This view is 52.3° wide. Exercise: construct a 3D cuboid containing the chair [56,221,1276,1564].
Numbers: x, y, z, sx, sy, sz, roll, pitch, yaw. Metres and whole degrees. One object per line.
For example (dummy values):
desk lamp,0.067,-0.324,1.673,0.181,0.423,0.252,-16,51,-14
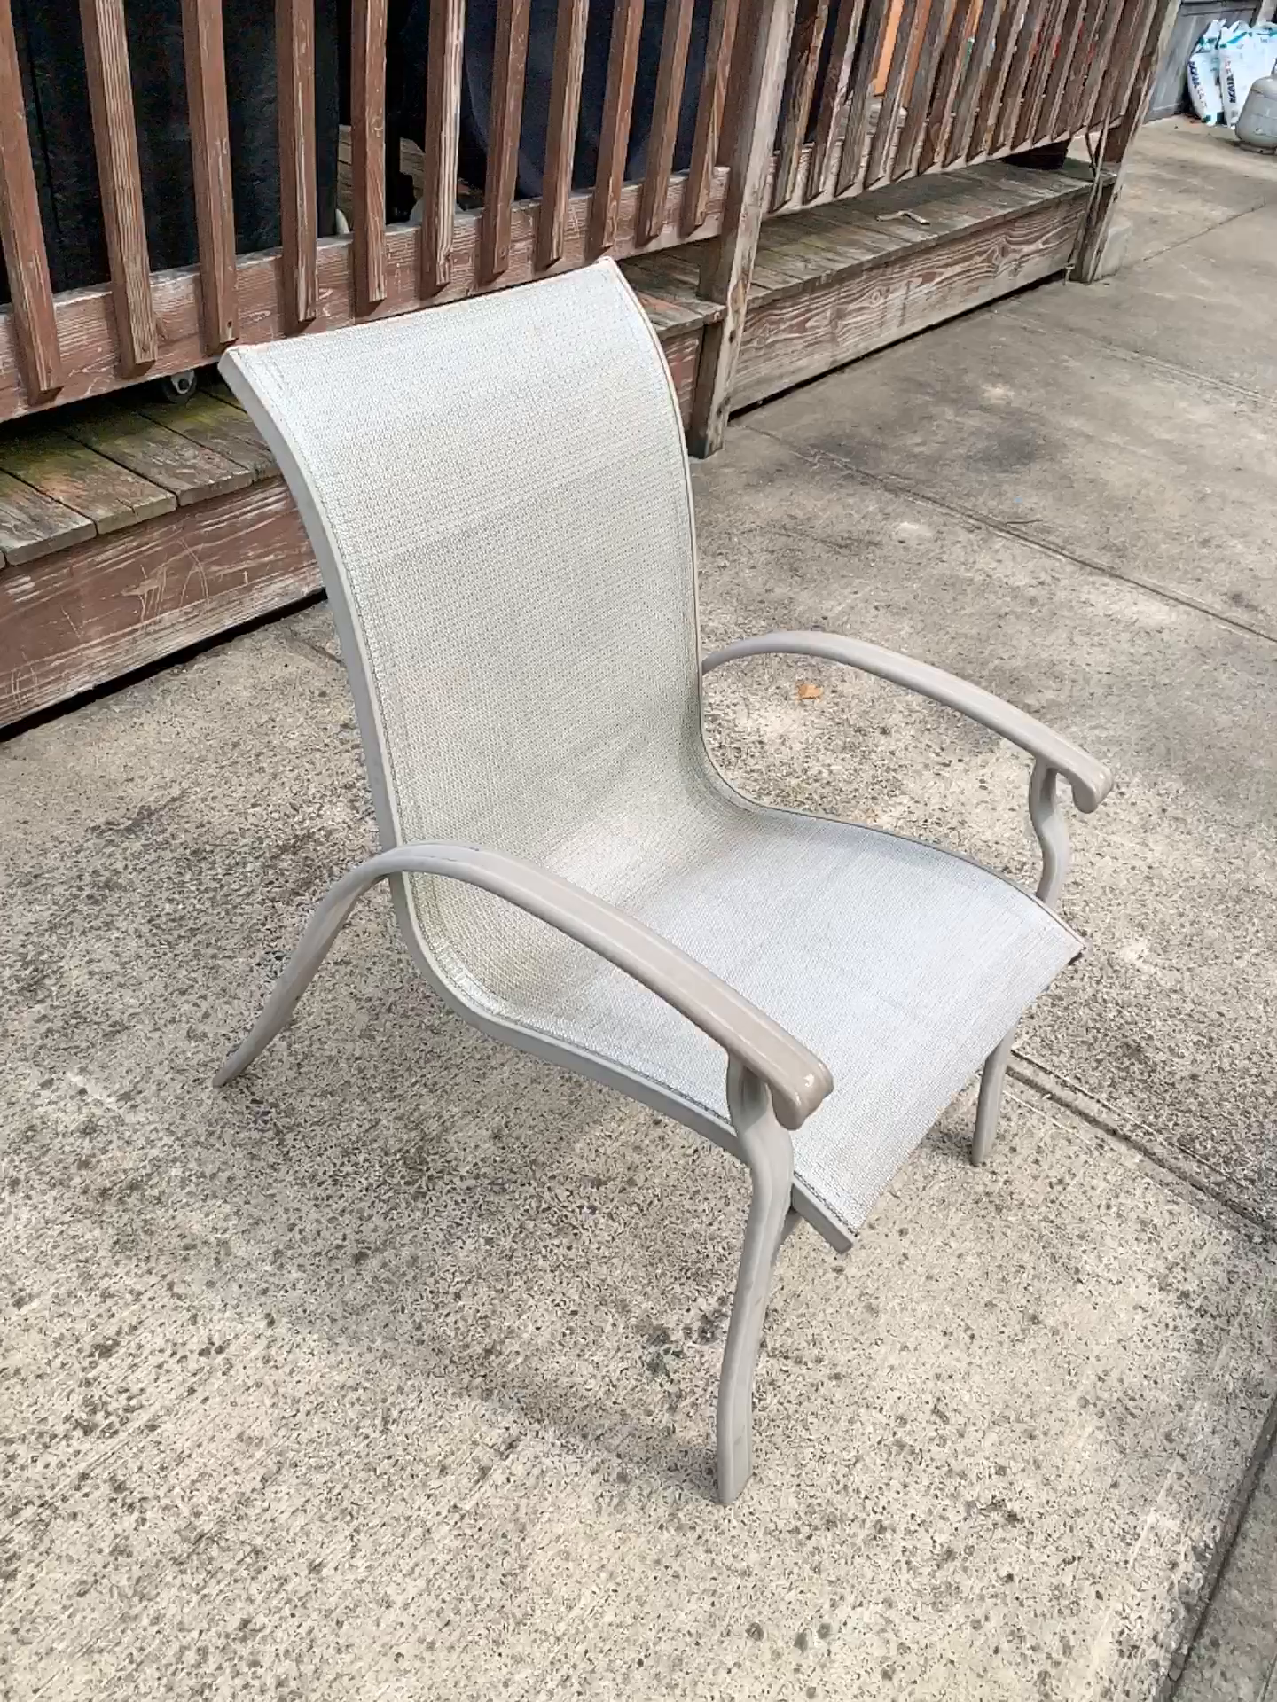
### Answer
chair,0.032,-0.015,1.274,0.792,0.845,0.652,31,45,25
